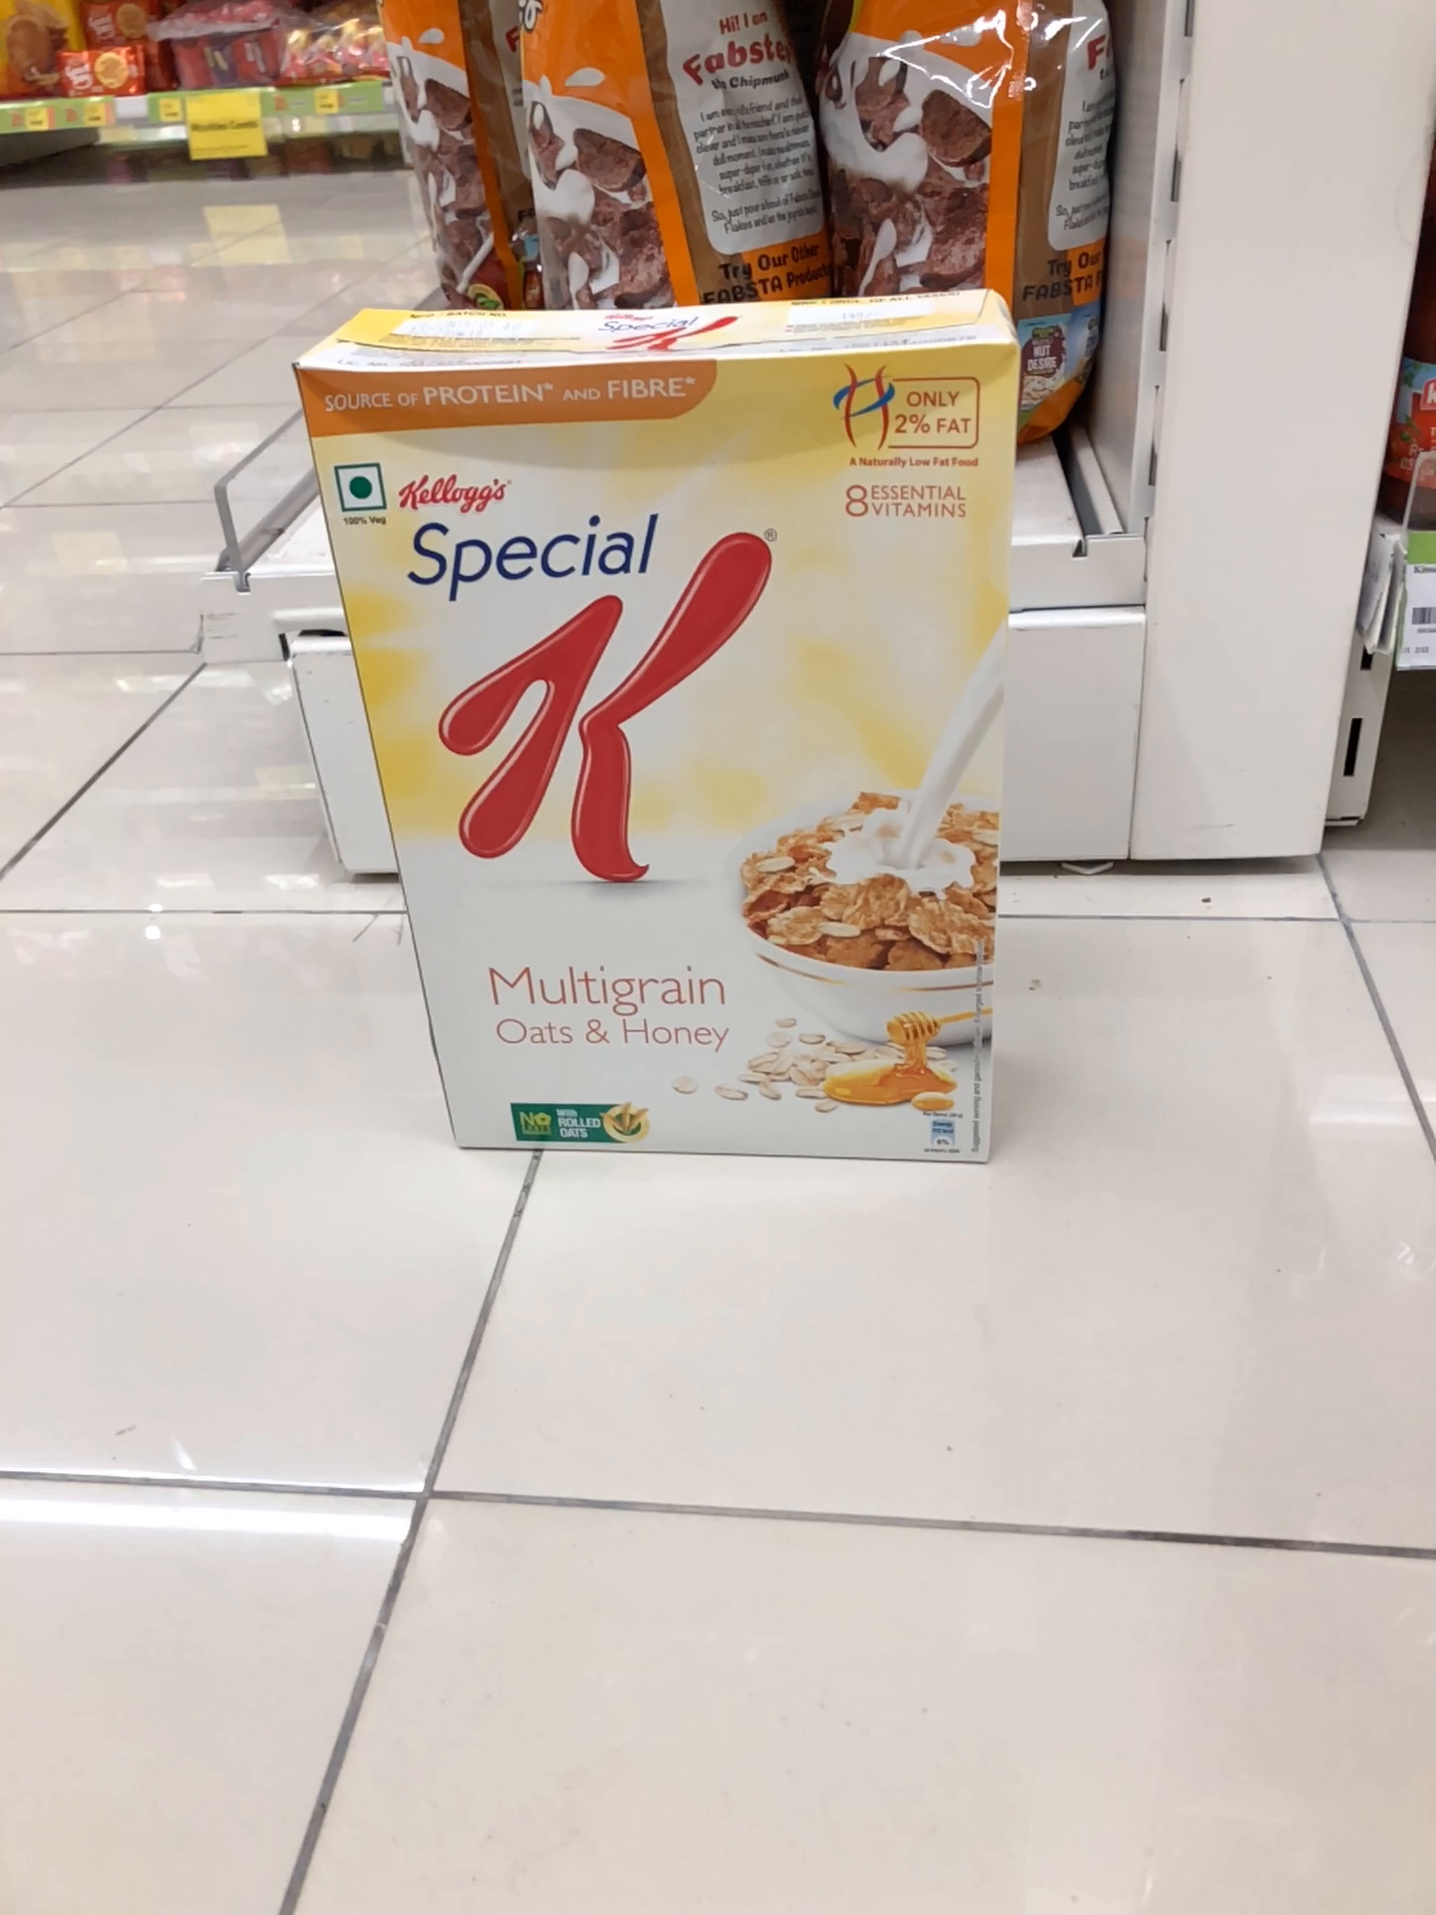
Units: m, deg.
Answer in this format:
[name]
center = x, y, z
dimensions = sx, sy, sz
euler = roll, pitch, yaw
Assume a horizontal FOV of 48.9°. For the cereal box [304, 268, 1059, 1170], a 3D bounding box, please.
[cereal box]
center = -0.003, -0.064, 0.496
dimensions = 0.190, 0.268, 0.070
euler = 2, 33, 6
